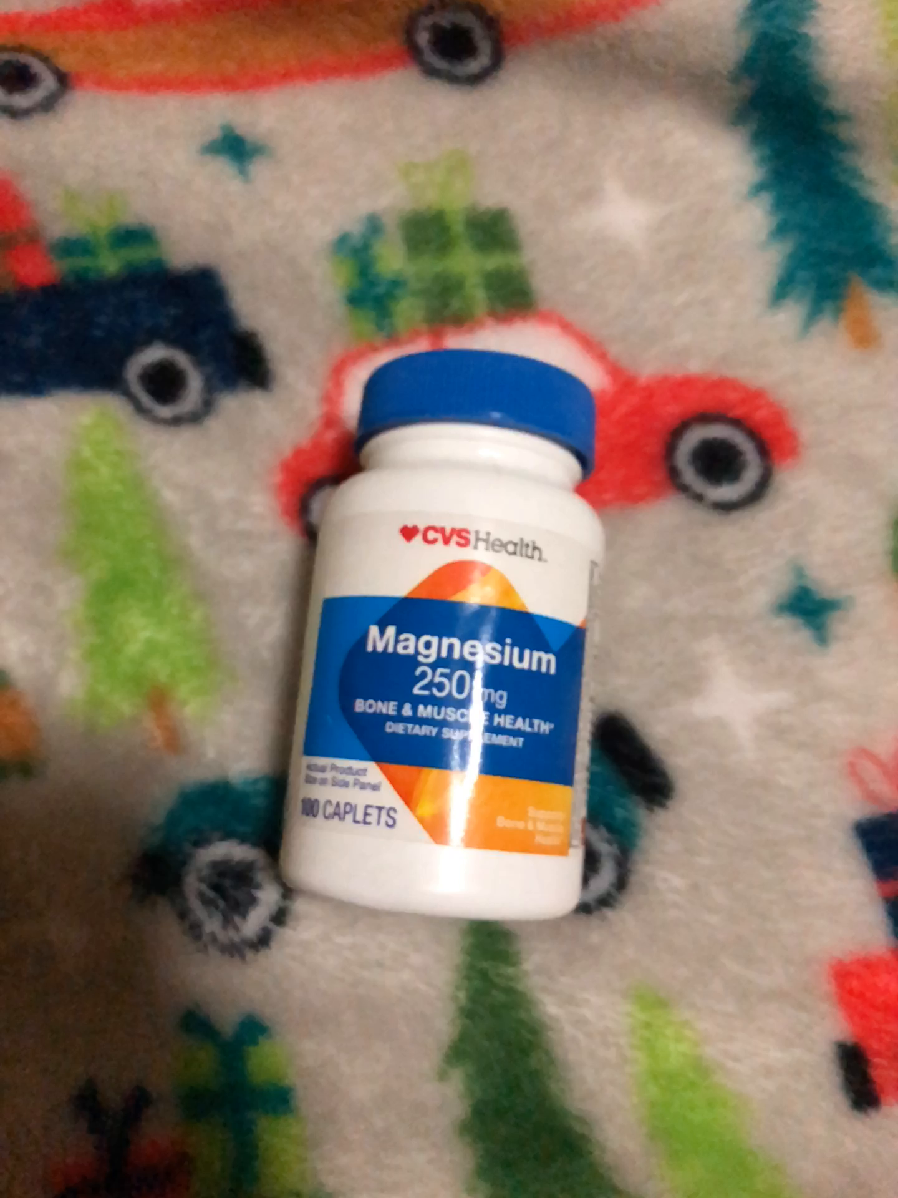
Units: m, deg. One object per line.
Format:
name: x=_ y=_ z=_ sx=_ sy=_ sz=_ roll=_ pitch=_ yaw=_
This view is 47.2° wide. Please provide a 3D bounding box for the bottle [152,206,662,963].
bottle: x=-0.004 y=-0.001 z=0.164 sx=0.060 sy=0.050 sz=0.100 roll=5 pitch=79 yaw=1
